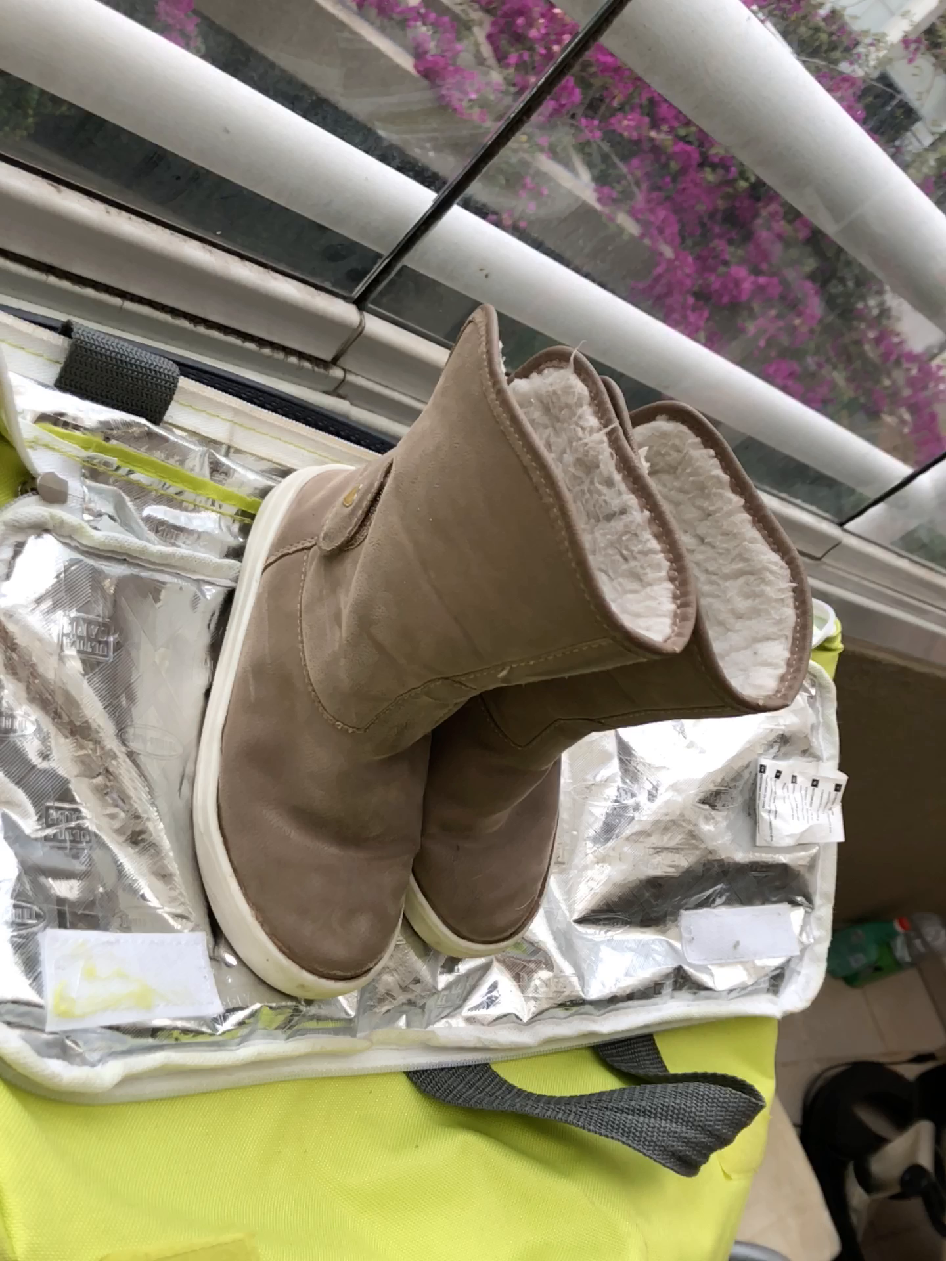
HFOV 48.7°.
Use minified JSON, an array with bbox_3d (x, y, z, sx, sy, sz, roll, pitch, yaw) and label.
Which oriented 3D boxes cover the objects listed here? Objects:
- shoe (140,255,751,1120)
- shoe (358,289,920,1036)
[{"bbox_3d":[-0.016,0.021,0.320,0.090,0.169,0.190,10,76,-40],"label":"shoe"},{"bbox_3d":[0.047,0.017,0.369,0.090,0.169,0.200,8,78,-41],"label":"shoe"}]
